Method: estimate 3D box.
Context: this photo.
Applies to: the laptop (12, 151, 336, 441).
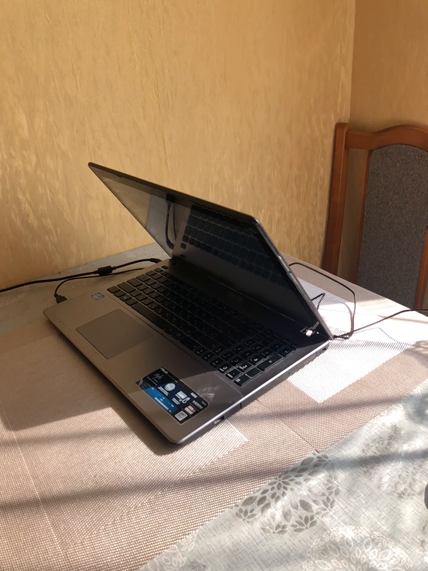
[{"bbox_3d":[-0.067,-0.030,0.632,0.240,0.197,0.365,-25,34,-31],"label":"laptop"}]
